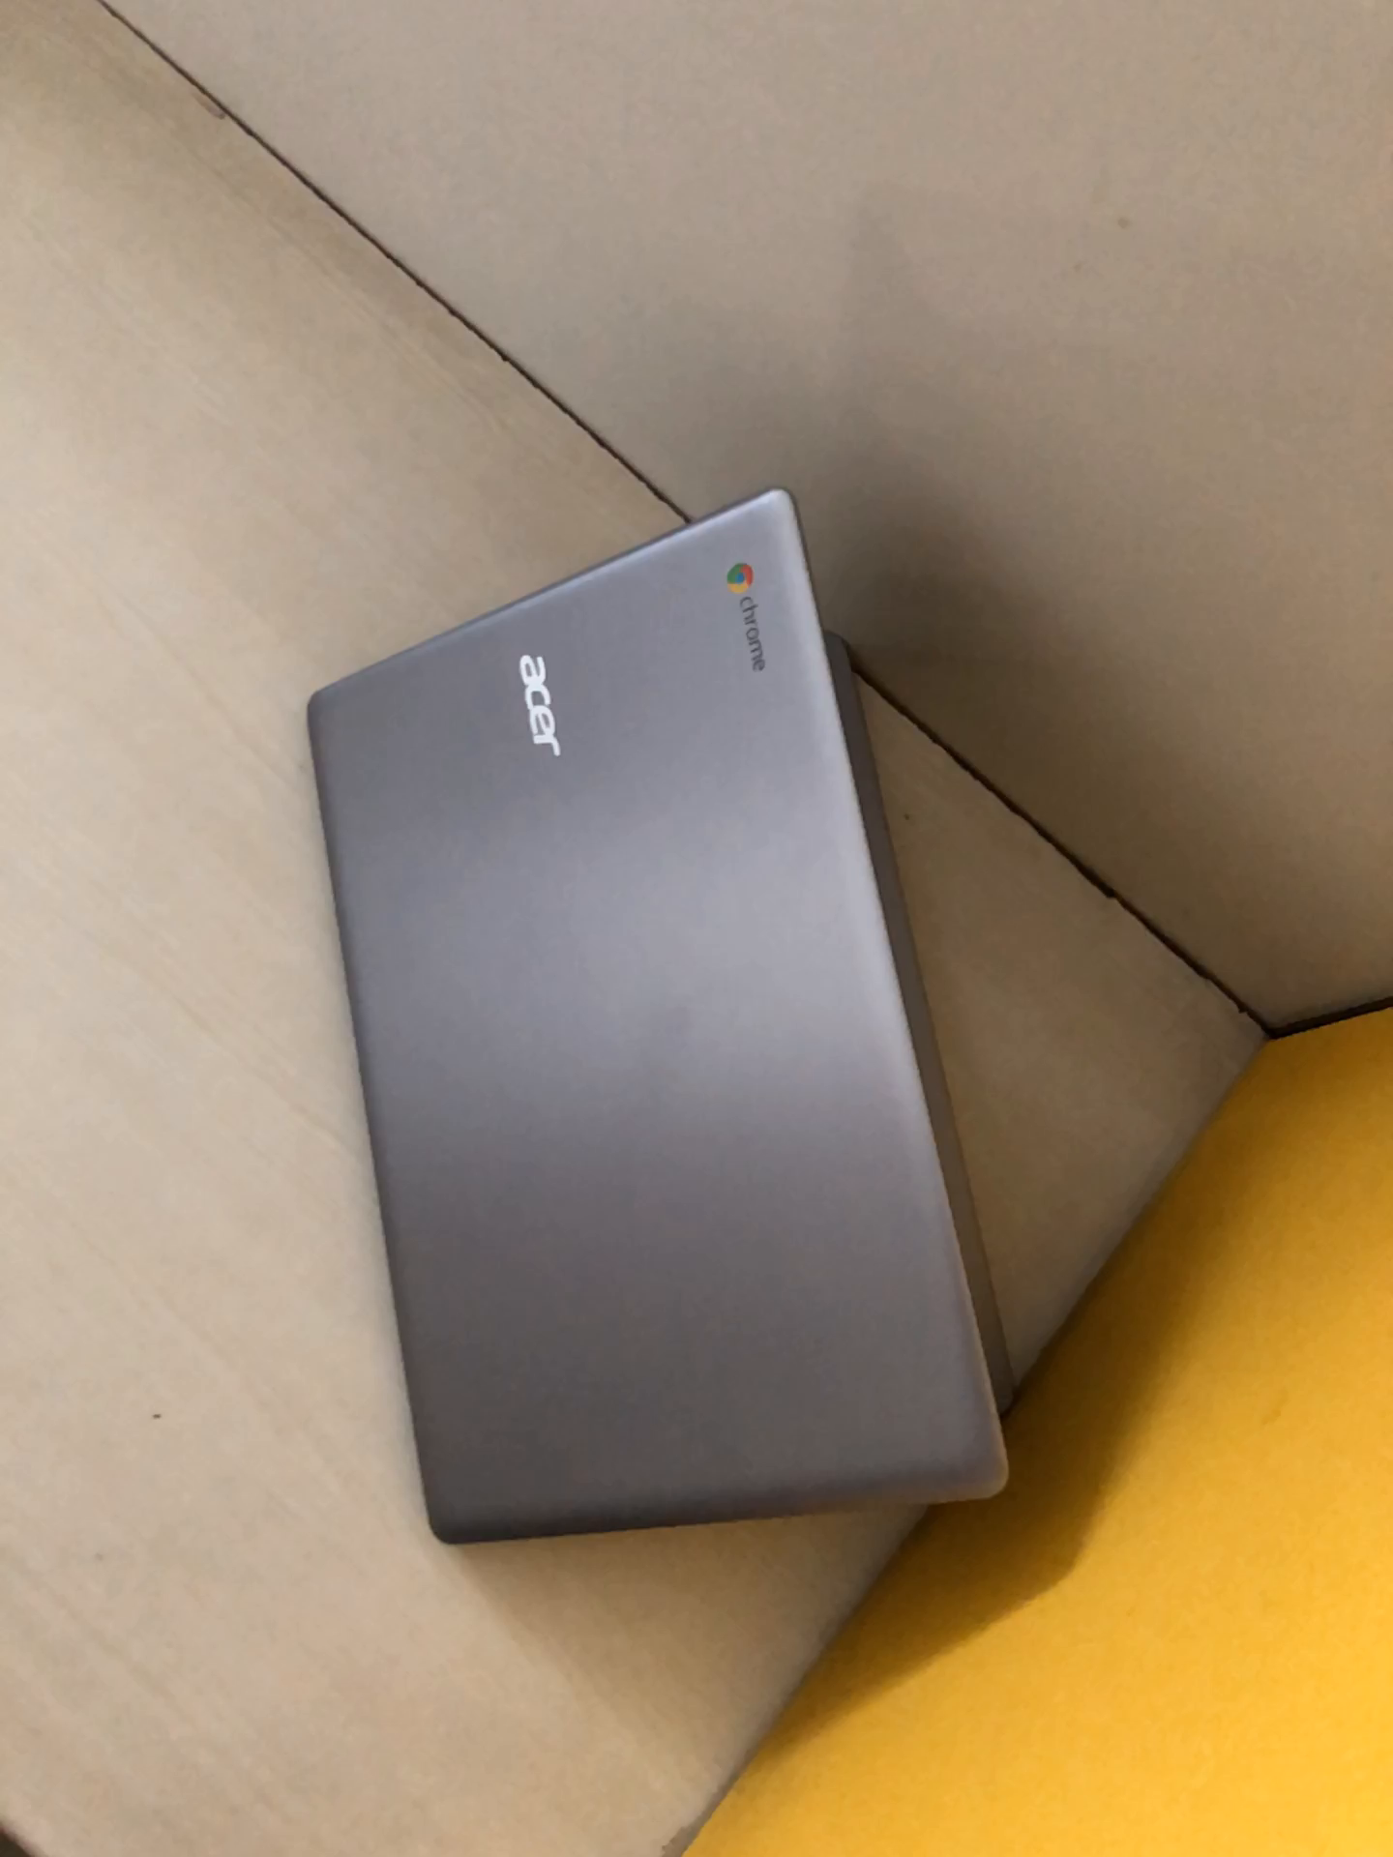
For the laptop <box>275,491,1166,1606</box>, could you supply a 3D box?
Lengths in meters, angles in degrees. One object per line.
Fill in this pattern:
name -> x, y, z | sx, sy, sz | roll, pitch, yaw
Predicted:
laptop -> -0.006, 0.034, 0.540 | 0.221, 0.135, 0.315 | -9, 80, -10
